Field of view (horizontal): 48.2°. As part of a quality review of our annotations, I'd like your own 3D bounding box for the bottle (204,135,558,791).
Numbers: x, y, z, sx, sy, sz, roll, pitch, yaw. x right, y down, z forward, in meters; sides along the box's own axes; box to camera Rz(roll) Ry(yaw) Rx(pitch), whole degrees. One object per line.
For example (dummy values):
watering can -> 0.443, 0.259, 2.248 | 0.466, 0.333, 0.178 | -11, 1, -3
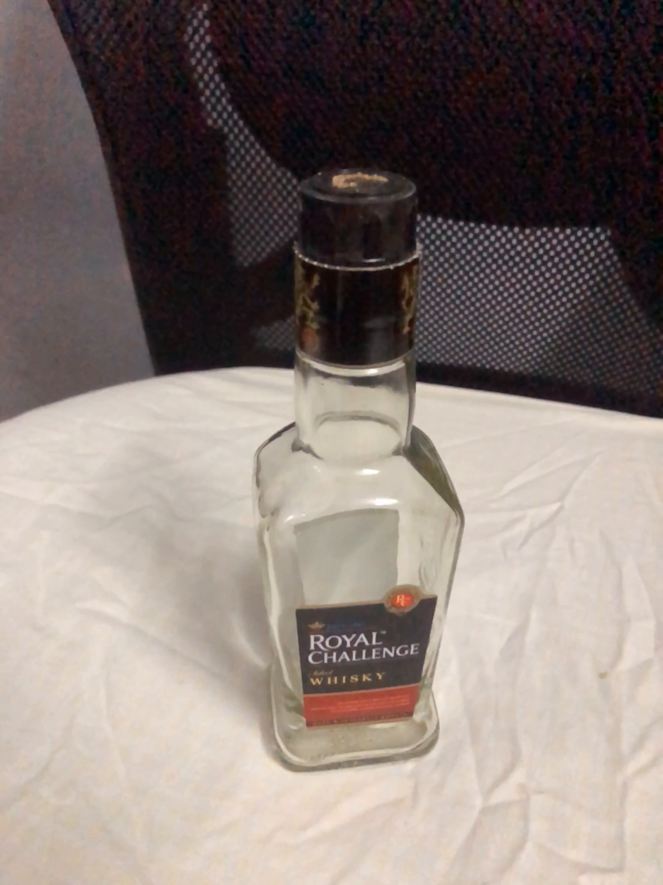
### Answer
bottle -> 0.007, 0.020, 0.221 | 0.070, 0.199, 0.050 | -4, 35, -7
